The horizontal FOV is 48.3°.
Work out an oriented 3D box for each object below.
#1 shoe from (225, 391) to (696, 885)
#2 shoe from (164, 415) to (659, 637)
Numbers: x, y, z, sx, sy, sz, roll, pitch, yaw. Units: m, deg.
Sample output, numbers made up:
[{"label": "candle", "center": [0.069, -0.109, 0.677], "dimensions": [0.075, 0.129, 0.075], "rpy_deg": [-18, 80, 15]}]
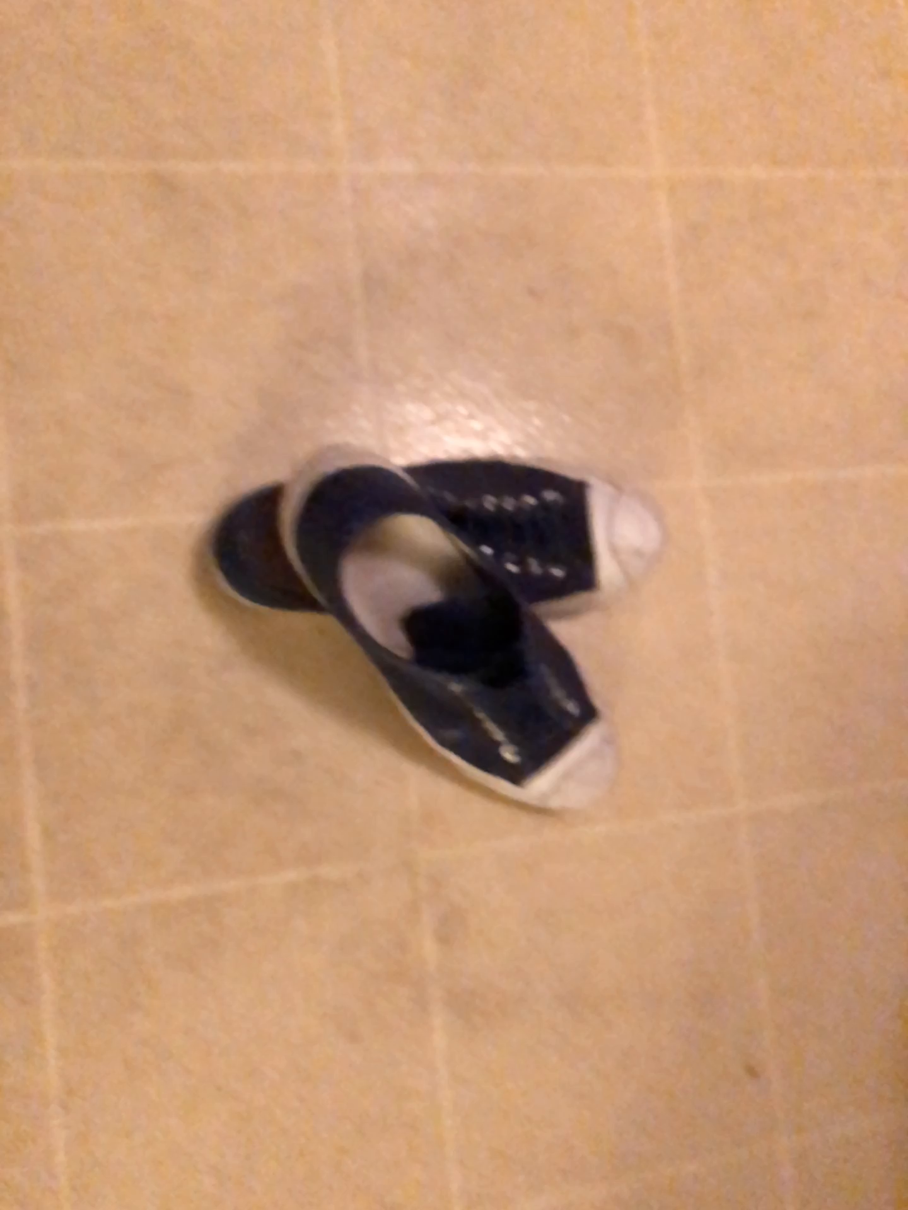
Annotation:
[{"label": "shoe", "center": [0.010, 0.027, 0.590], "dimensions": [0.100, 0.100, 0.290], "rpy_deg": [-41, 120, 4]}, {"label": "shoe", "center": [-0.023, -0.052, 0.636], "dimensions": [0.291, 0.080, 0.110], "rpy_deg": [-6, 91, -21]}]
